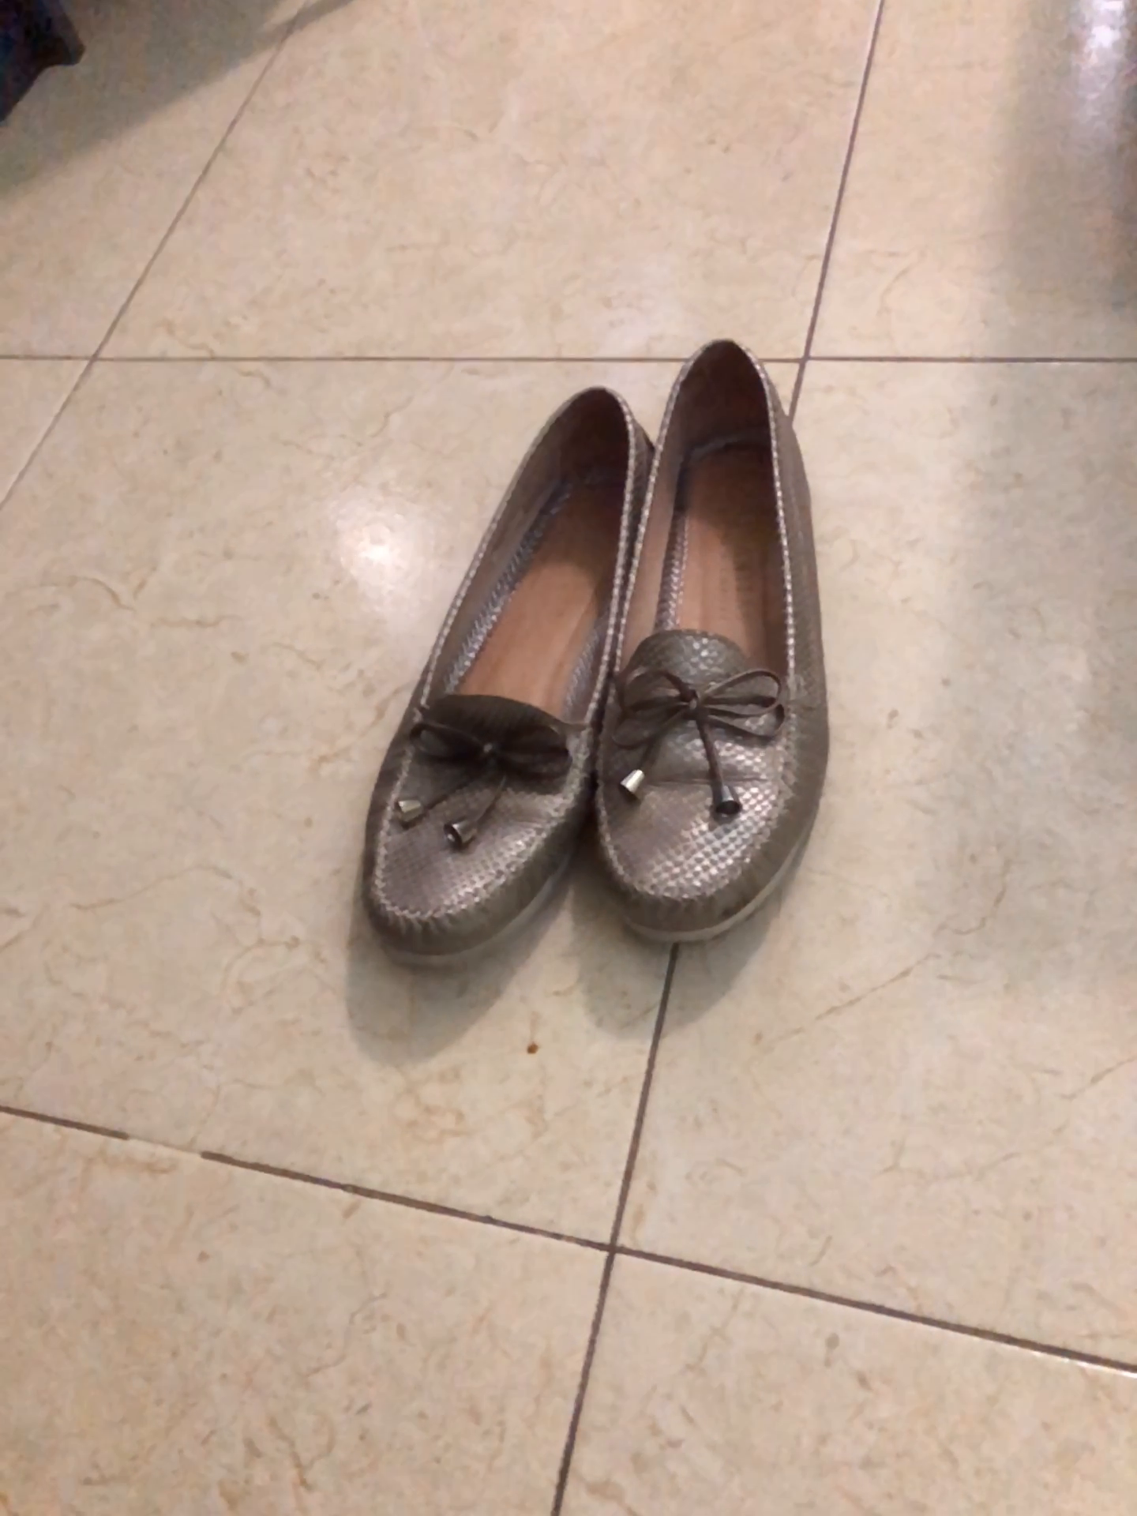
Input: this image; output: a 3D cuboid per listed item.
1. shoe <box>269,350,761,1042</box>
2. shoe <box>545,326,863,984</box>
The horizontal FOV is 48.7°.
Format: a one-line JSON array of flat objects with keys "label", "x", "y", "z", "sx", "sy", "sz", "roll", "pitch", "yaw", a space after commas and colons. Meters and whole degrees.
[{"label": "shoe", "x": -0.008, "y": -0.041, "z": 0.553, "sx": 0.100, "sy": 0.080, "sz": 0.300, "roll": 11, "pitch": 62, "yaw": 21}, {"label": "shoe", "x": 0.067, "y": -0.051, "z": 0.520, "sx": 0.100, "sy": 0.080, "sz": 0.271, "roll": 0, "pitch": 58, "yaw": 15}]
